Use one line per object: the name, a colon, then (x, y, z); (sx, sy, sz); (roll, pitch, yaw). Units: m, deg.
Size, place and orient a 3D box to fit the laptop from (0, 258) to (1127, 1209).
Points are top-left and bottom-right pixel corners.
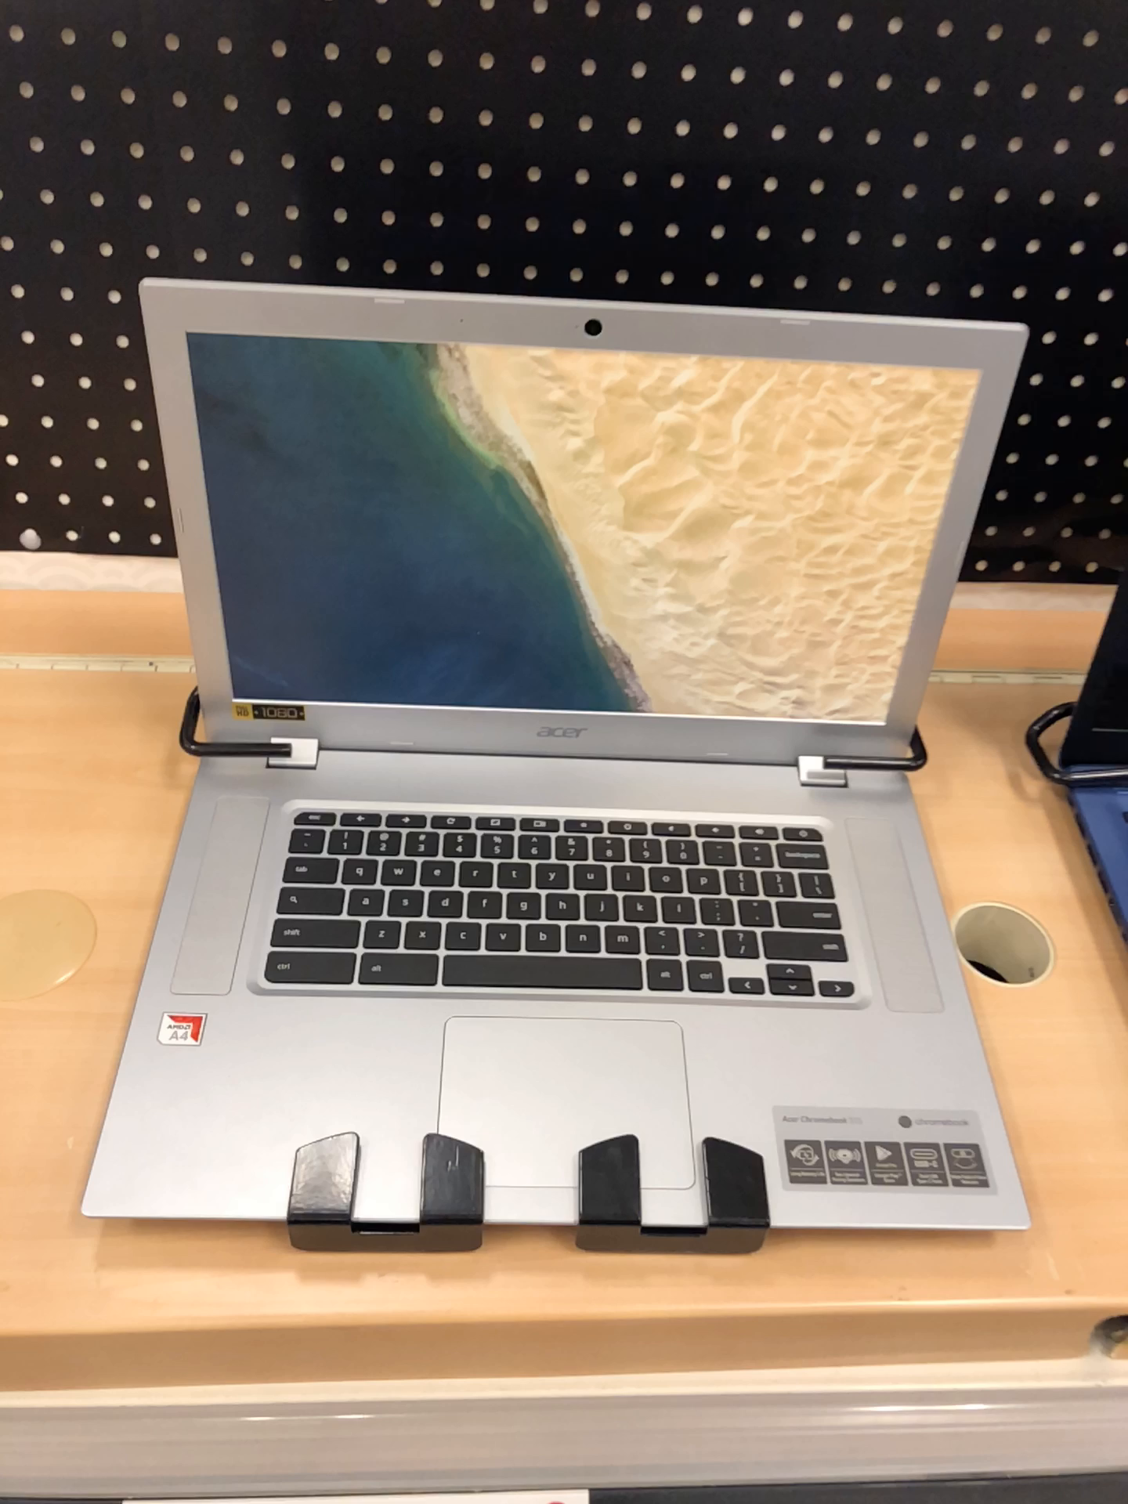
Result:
laptop: (0.004, -0.016, 0.525); (0.371, 0.246, 0.287); (1, 41, -3)
